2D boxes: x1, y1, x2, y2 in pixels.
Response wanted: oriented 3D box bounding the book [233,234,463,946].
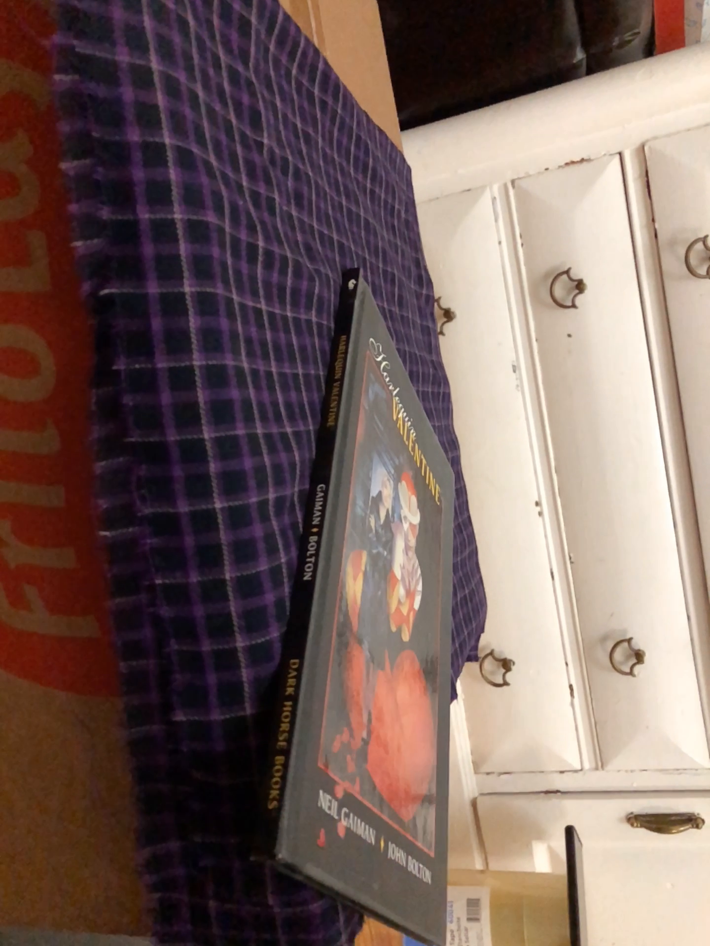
[{"bbox_3d":[0.018,0.050,0.370,0.180,0.020,0.281,58,30,-48],"label":"book"}]
